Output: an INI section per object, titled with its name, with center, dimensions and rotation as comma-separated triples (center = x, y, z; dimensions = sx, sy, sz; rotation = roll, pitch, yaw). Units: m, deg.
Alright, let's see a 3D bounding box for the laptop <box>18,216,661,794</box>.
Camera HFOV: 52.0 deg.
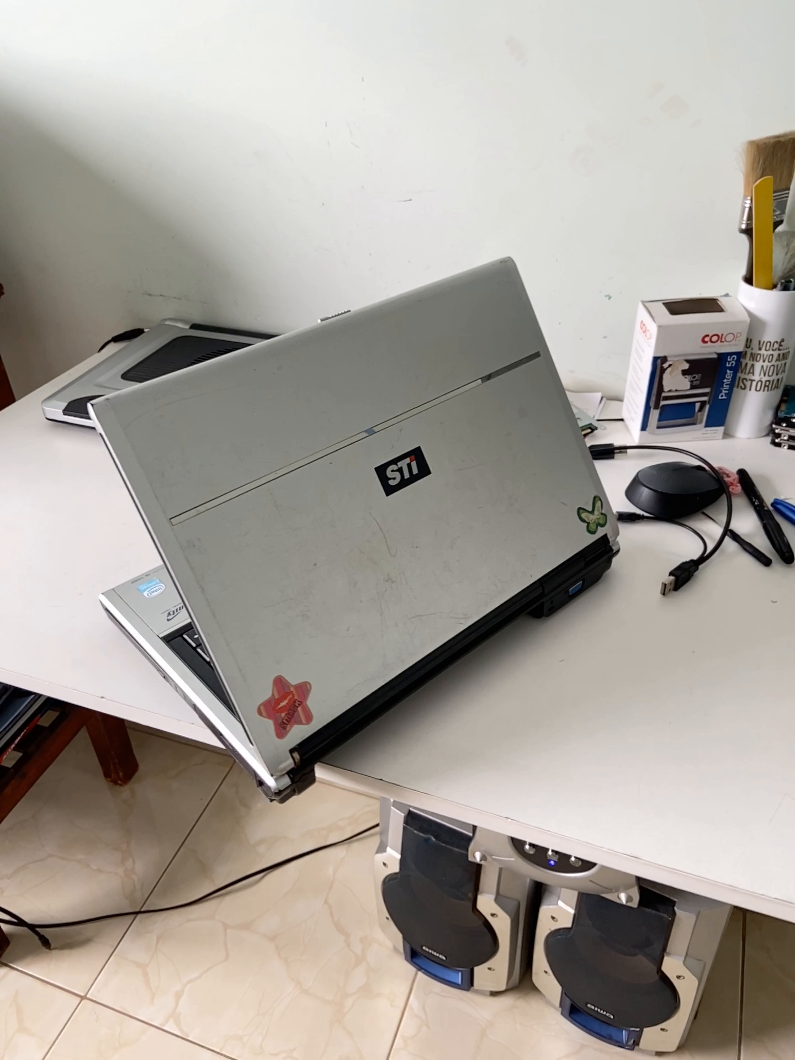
[laptop]
center = -0.025, -0.053, 0.582
dimensions = 0.338, 0.210, 0.236
rotation = -29, 44, -32
